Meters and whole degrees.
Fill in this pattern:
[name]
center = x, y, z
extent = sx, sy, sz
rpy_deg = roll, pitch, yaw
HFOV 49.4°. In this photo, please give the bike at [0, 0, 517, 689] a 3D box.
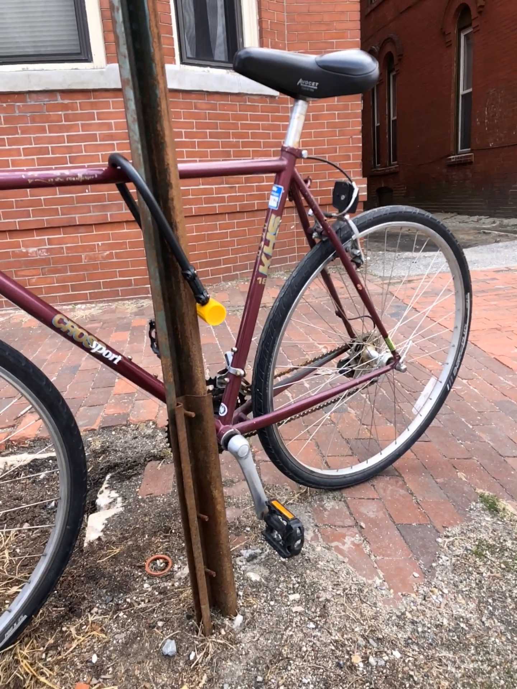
[bike]
center = -0.101, -0.001, 0.948
extent = 1.731, 1.014, 0.668
rpy_deg = -14, 17, -34
